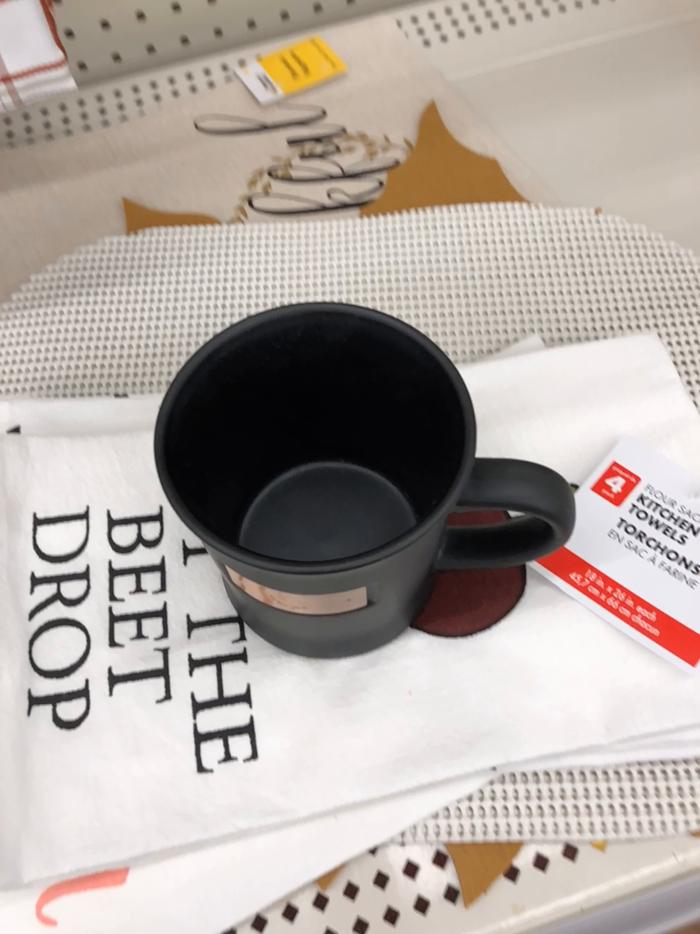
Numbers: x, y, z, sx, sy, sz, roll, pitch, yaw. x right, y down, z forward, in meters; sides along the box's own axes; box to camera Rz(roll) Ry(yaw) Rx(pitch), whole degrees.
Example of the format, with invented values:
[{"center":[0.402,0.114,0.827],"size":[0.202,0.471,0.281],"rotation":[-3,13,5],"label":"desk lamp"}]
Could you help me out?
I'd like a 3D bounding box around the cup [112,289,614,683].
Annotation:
[{"center":[0.009,0.013,0.287],"size":[0.140,0.110,0.100],"rotation":[4,64,5],"label":"cup"}]
